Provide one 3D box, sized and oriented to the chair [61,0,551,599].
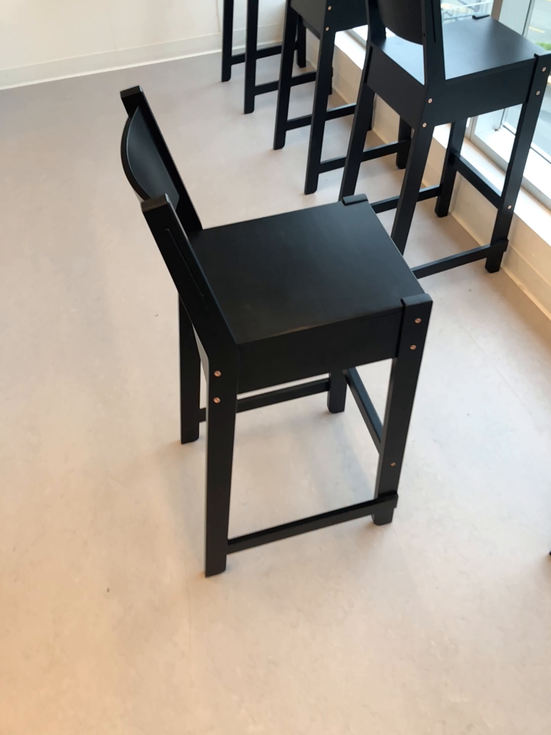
[{"bbox_3d":[0.016,-0.064,1.222,0.580,0.994,0.553,-12,49,-8],"label":"chair"}]
